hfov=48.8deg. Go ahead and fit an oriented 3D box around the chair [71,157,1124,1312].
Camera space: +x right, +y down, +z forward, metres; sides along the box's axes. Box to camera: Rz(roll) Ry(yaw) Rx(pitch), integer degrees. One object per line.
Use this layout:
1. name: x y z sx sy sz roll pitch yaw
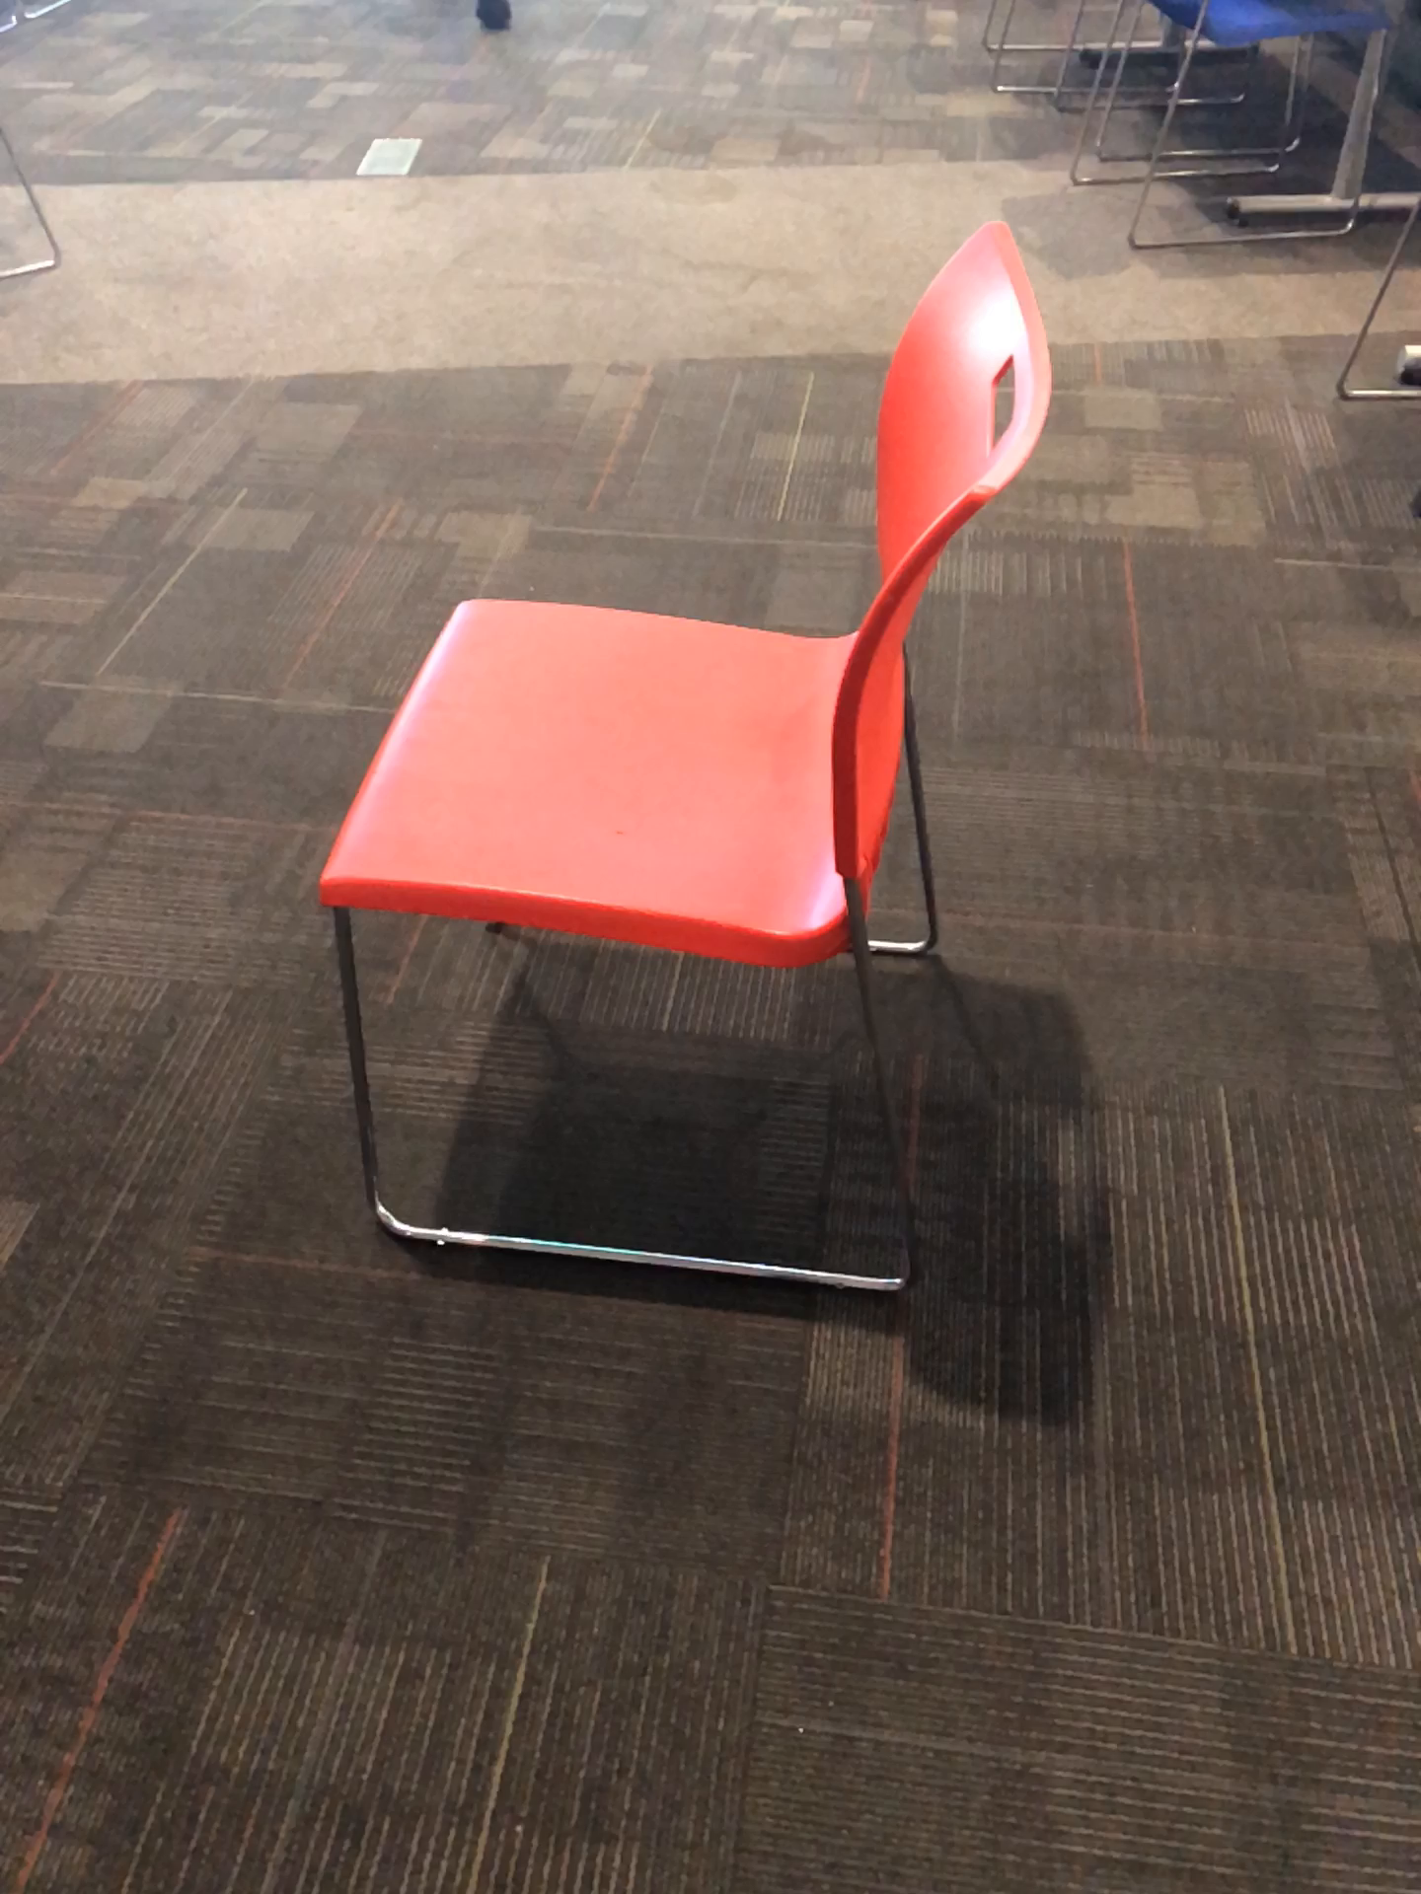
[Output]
1. chair: -0.031 -0.178 1.353 0.610 0.766 0.563 5 42 7
